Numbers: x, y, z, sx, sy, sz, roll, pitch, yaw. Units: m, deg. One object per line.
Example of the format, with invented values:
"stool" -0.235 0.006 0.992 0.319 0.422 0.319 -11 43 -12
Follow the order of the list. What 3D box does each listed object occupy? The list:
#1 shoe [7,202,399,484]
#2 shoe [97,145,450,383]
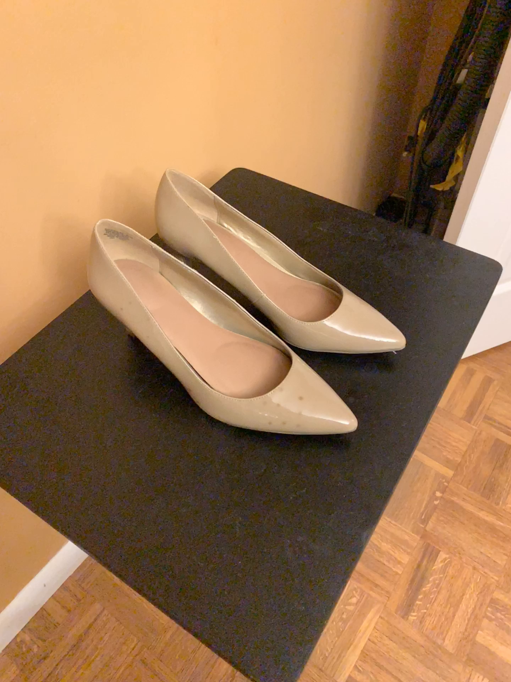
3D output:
"shoe" -0.049 -0.010 0.442 0.300 0.090 0.100 23 54 19
"shoe" 0.009 -0.083 0.496 0.300 0.090 0.100 23 54 19
